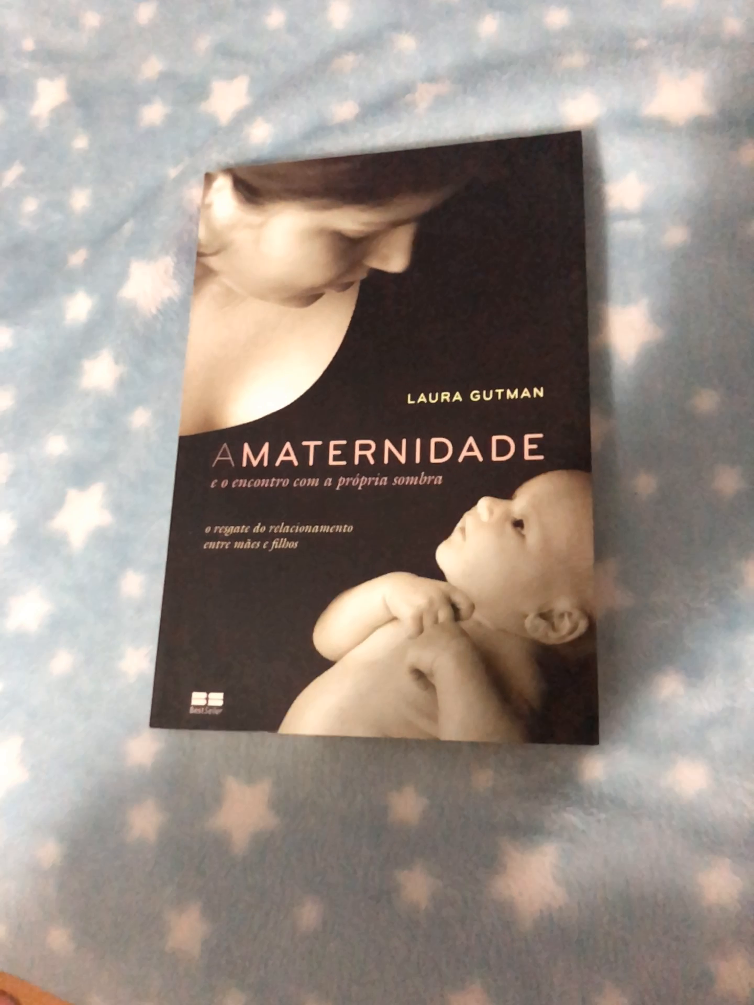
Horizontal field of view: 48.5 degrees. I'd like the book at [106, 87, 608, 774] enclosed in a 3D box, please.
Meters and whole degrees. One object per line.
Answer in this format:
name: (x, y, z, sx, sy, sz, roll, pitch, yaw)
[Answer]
book: (-0.003, -0.032, 0.305, 0.160, 0.030, 0.240, -1, 74, 12)
